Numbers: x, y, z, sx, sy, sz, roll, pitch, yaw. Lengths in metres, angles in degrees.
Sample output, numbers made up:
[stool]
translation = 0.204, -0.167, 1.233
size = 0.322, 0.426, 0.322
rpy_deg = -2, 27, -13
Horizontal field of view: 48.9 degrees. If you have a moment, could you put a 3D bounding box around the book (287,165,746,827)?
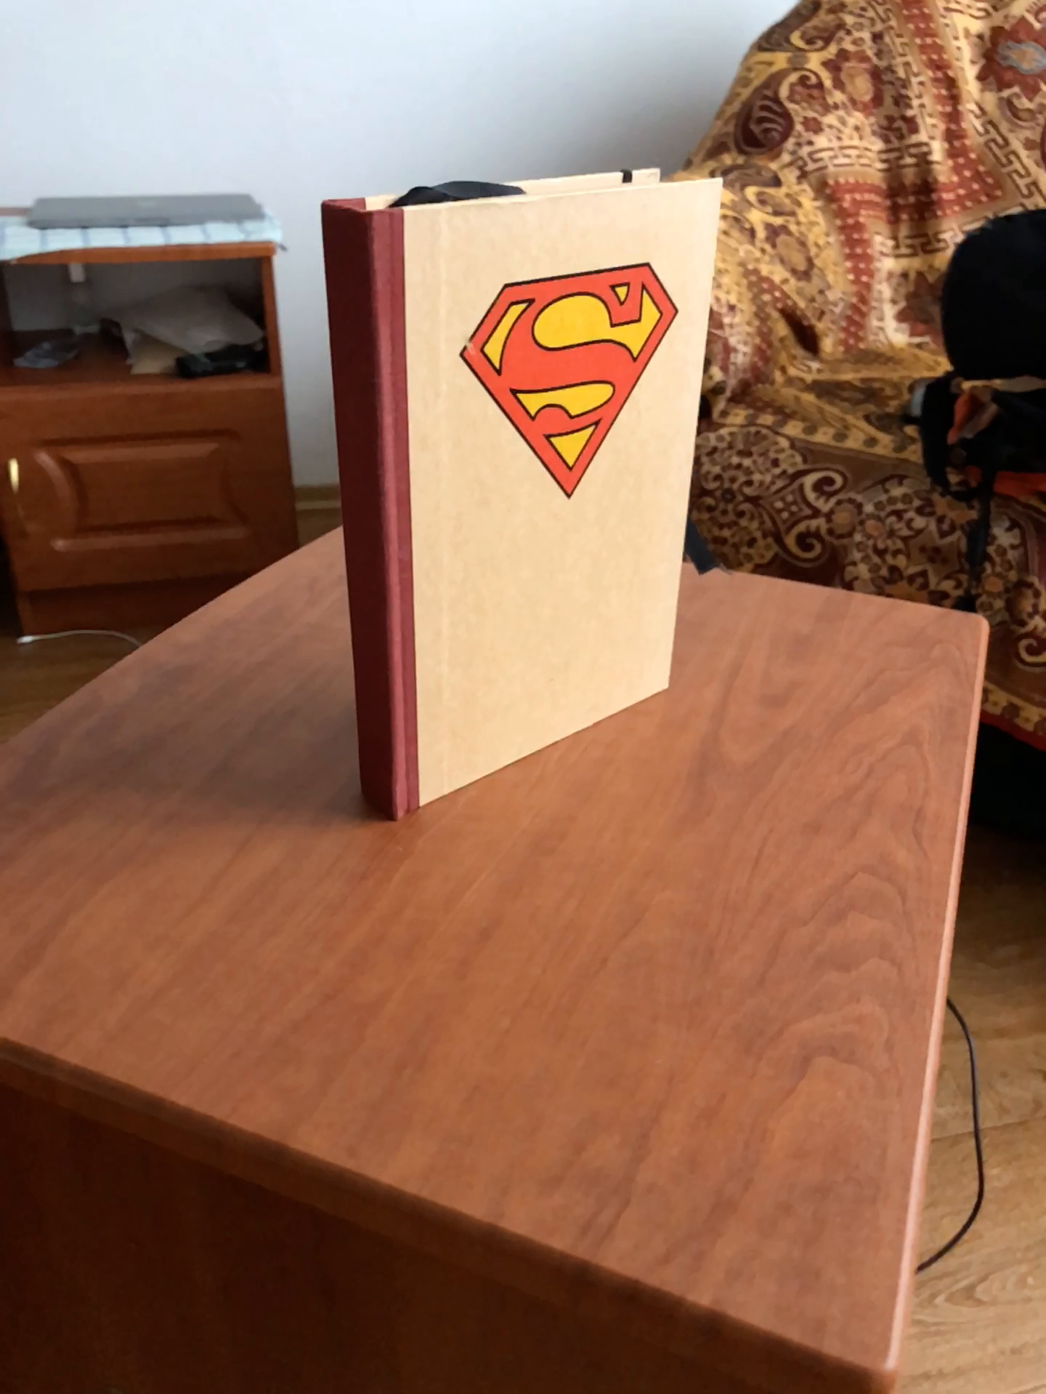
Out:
[book]
translation = 0.003, -0.076, 0.421
size = 0.162, 0.203, 0.041
rpy_deg = -24, 38, -36
